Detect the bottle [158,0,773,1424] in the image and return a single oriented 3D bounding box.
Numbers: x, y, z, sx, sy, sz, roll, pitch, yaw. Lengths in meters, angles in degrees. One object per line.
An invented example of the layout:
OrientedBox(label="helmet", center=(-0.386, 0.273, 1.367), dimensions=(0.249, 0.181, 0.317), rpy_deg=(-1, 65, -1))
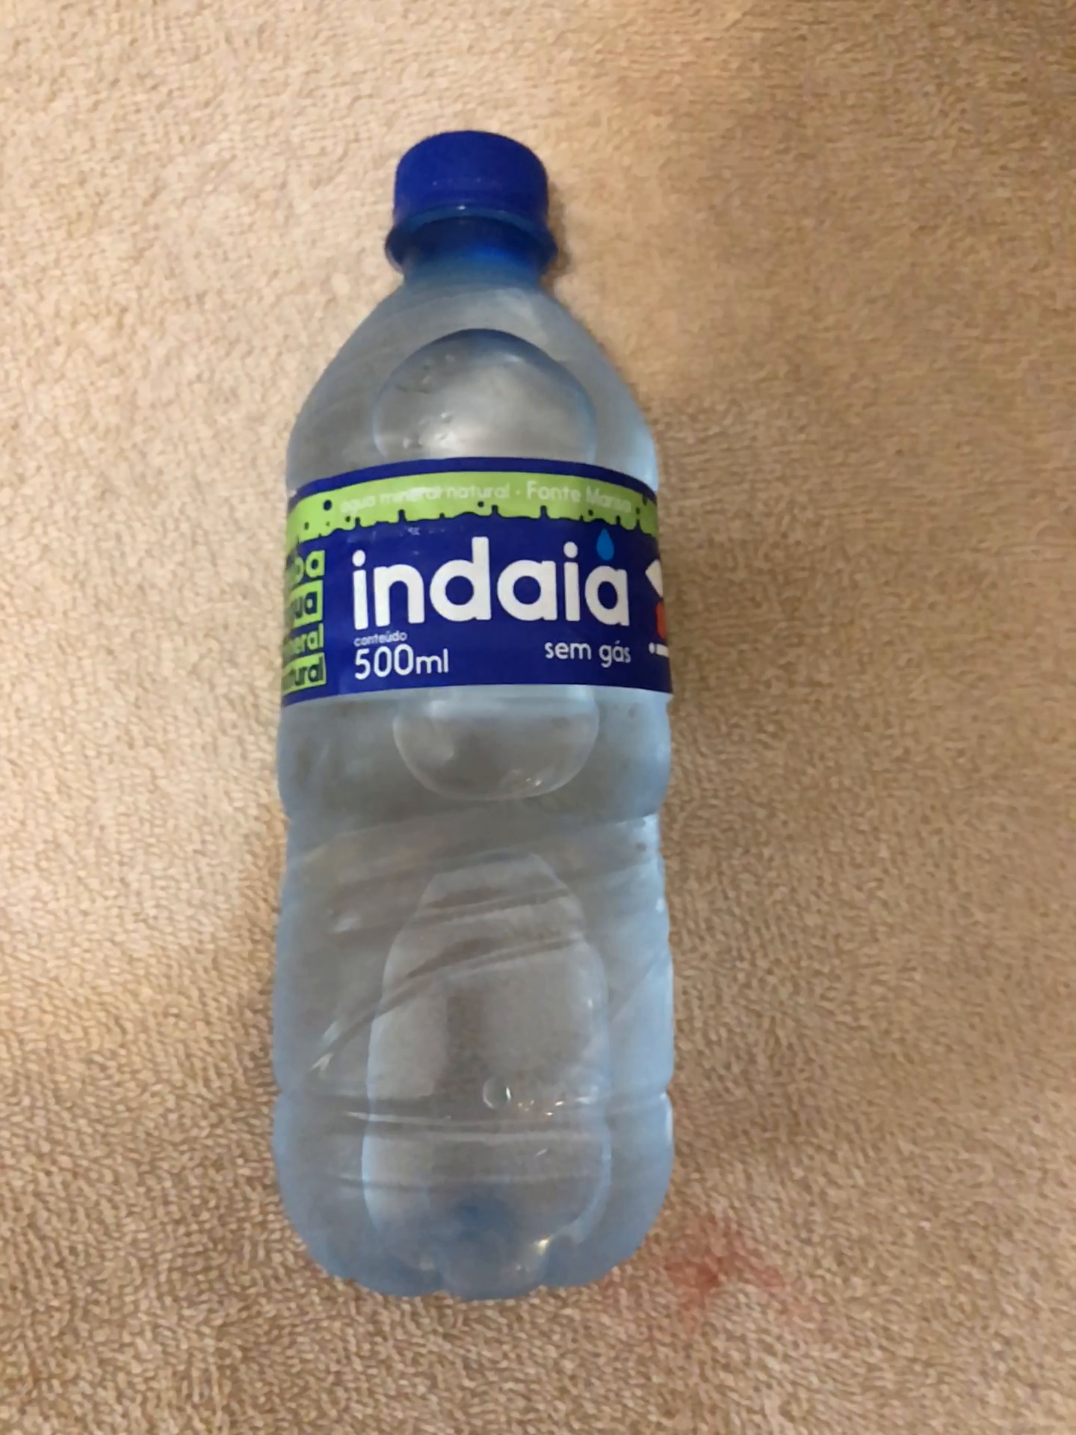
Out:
OrientedBox(label="bottle", center=(-0.016, -0.010, 0.202), dimensions=(0.080, 0.050, 0.210), rpy_deg=(-2, 82, -7))
